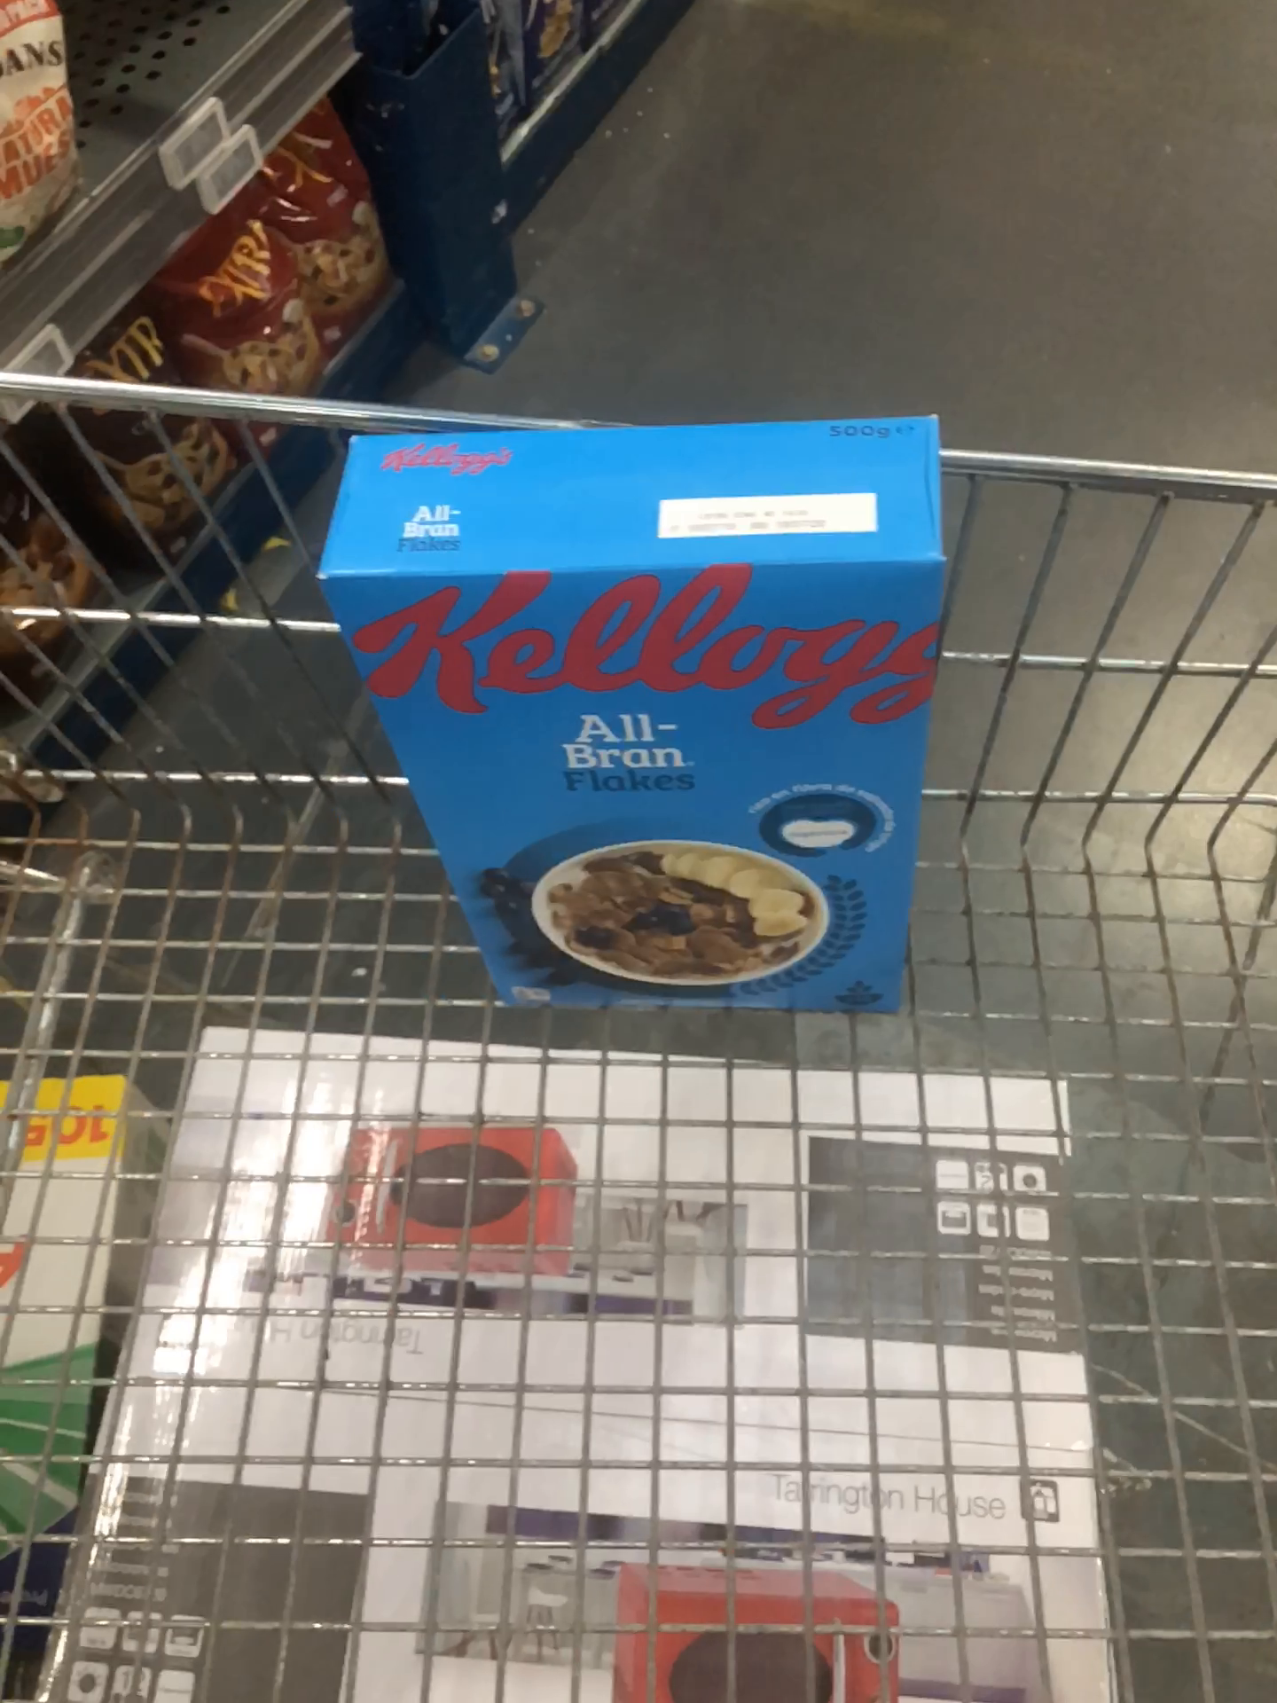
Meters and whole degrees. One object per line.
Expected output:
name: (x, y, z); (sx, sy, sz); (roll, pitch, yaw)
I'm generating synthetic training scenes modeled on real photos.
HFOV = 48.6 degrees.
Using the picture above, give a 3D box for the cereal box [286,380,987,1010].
cereal box: (0.009, -0.037, 0.536); (0.200, 0.269, 0.080); (-1, 57, 5)
